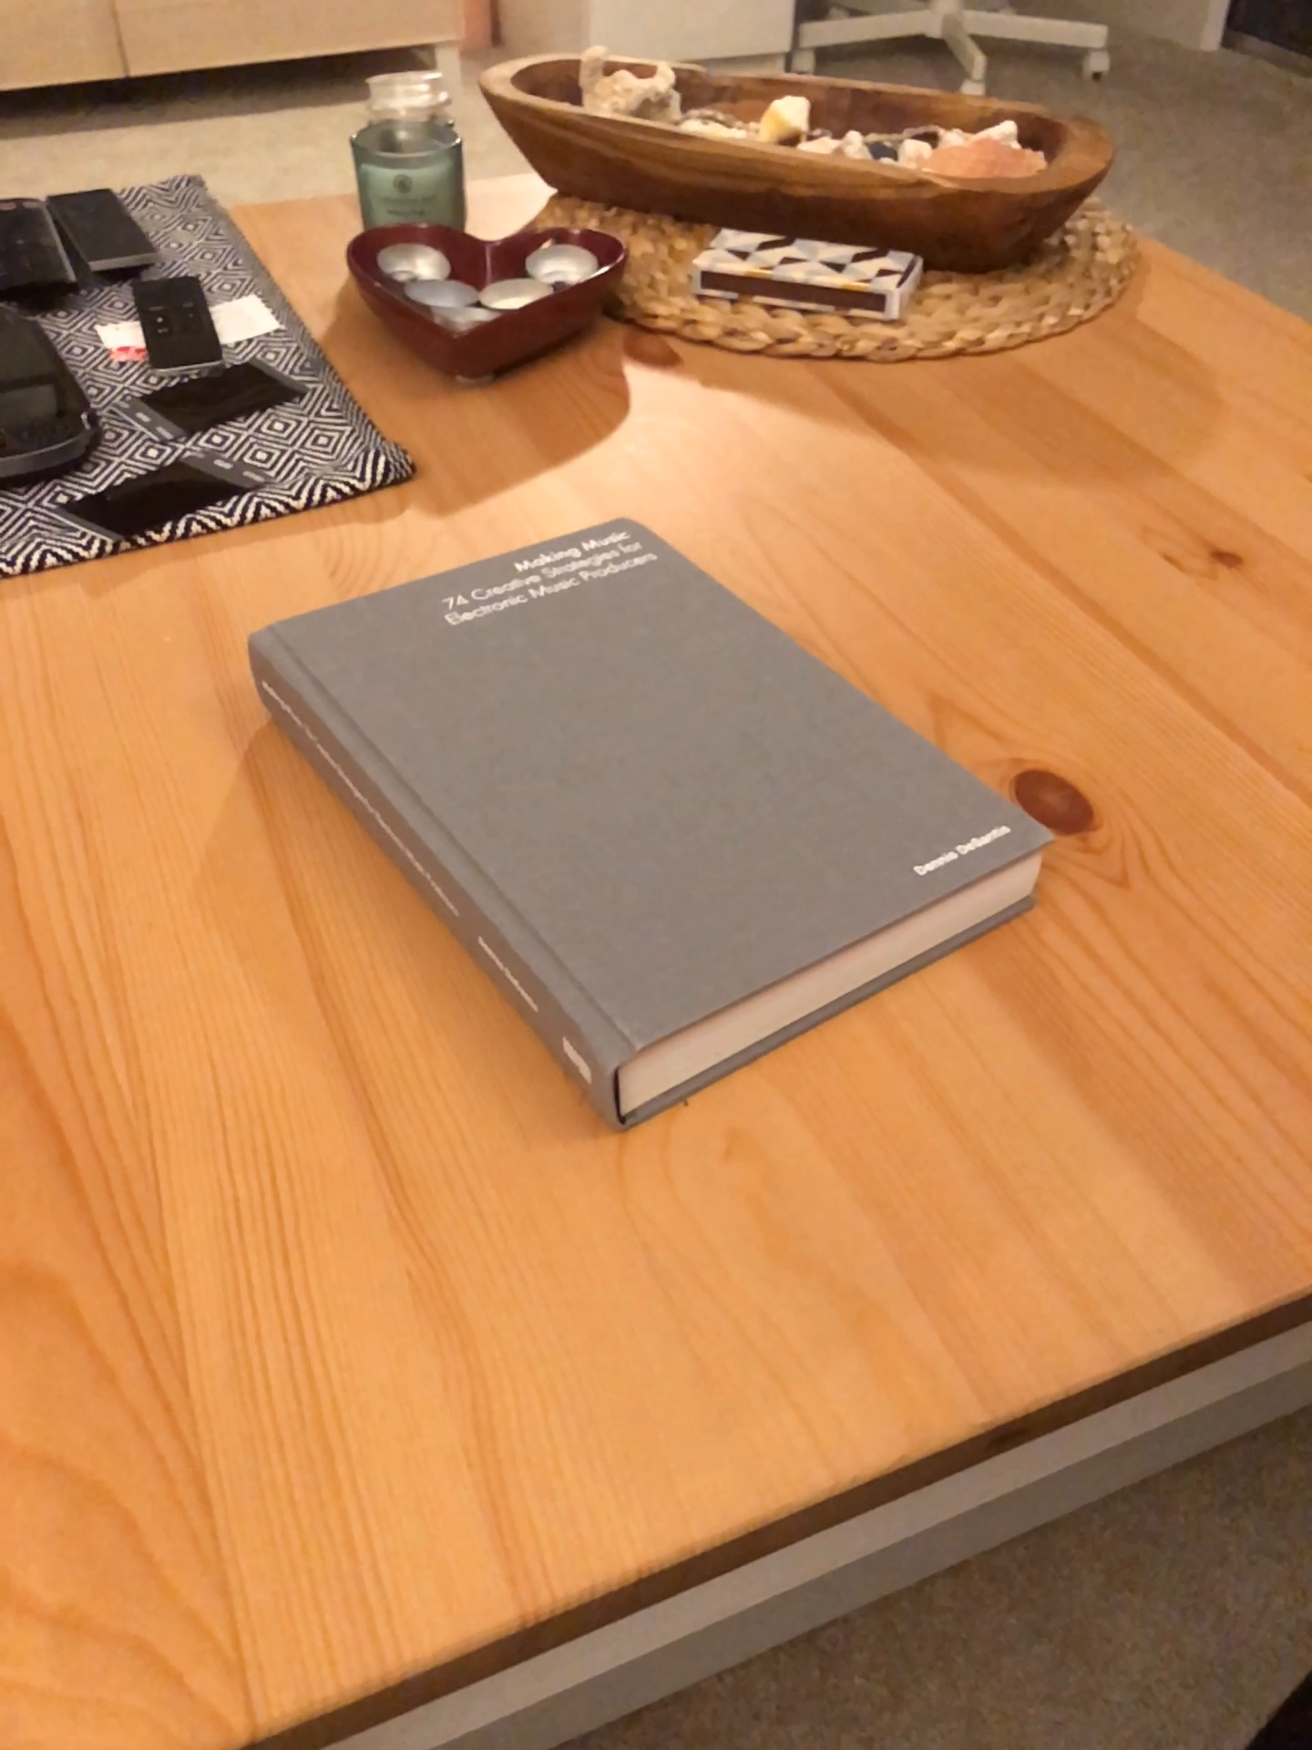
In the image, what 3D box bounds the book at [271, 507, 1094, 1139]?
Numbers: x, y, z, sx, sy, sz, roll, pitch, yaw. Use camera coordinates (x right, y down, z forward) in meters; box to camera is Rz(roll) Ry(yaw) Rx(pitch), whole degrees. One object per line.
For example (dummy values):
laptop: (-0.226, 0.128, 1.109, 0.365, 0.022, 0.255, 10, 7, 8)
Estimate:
book: (-0.001, -0.038, 0.477, 0.167, 0.030, 0.228, -24, 49, -25)
